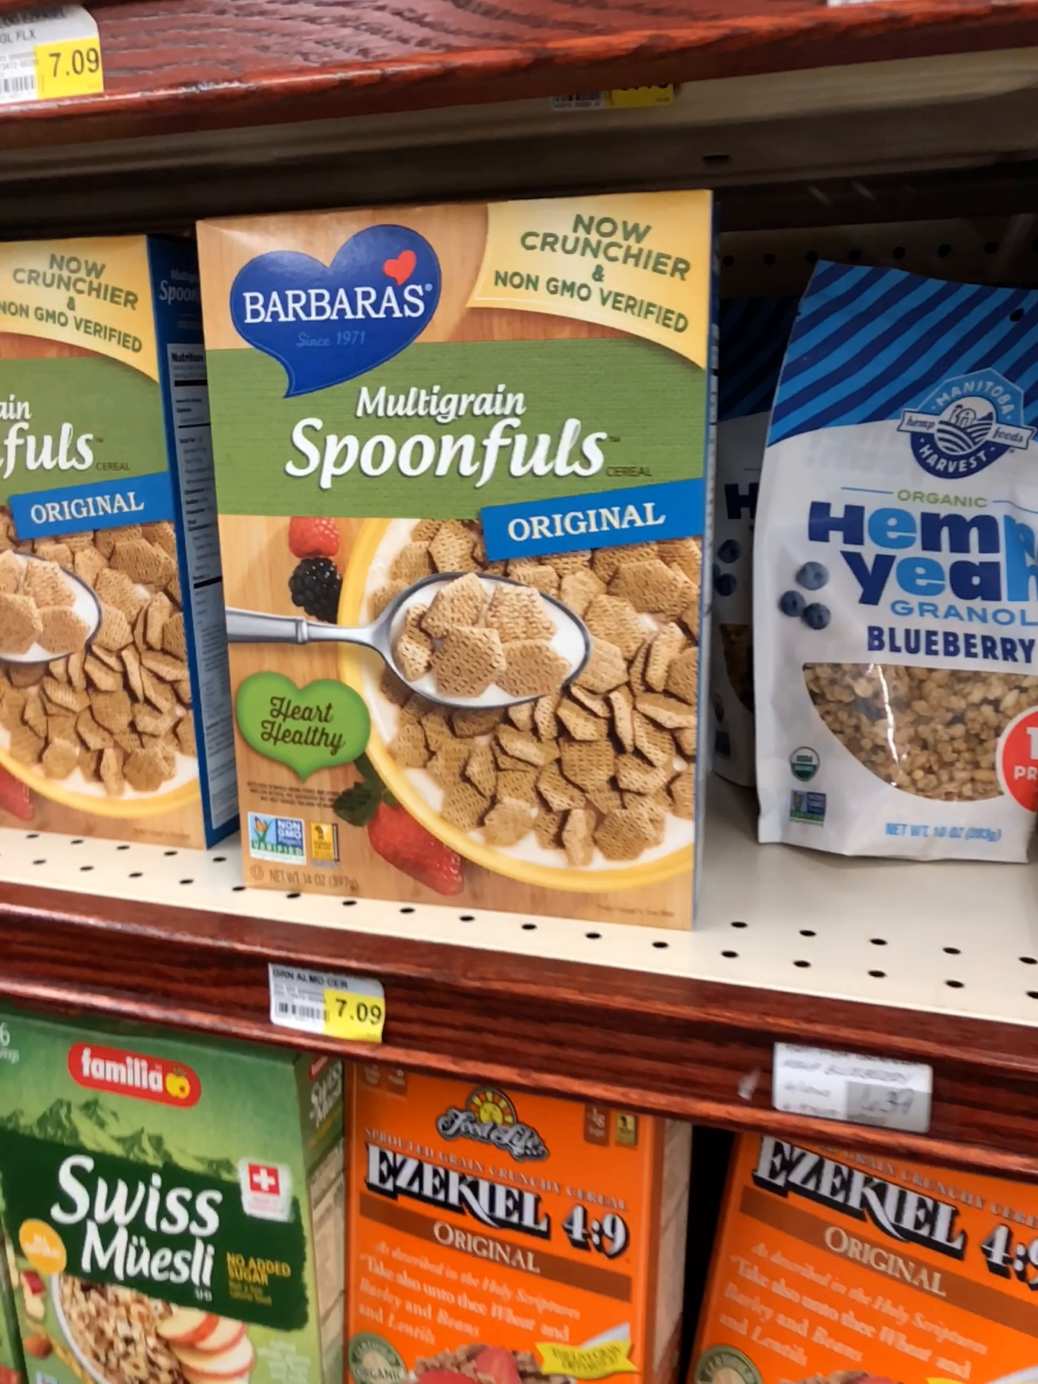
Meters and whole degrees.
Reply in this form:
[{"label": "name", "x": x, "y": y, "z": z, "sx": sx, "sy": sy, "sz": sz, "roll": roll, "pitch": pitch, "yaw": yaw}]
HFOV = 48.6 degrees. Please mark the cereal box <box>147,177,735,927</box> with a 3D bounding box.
[{"label": "cereal box", "x": -0.025, "y": -0.048, "z": 0.436, "sx": 0.200, "sy": 0.250, "sz": 0.060, "roll": 2, "pitch": 13, "yaw": 14}]
